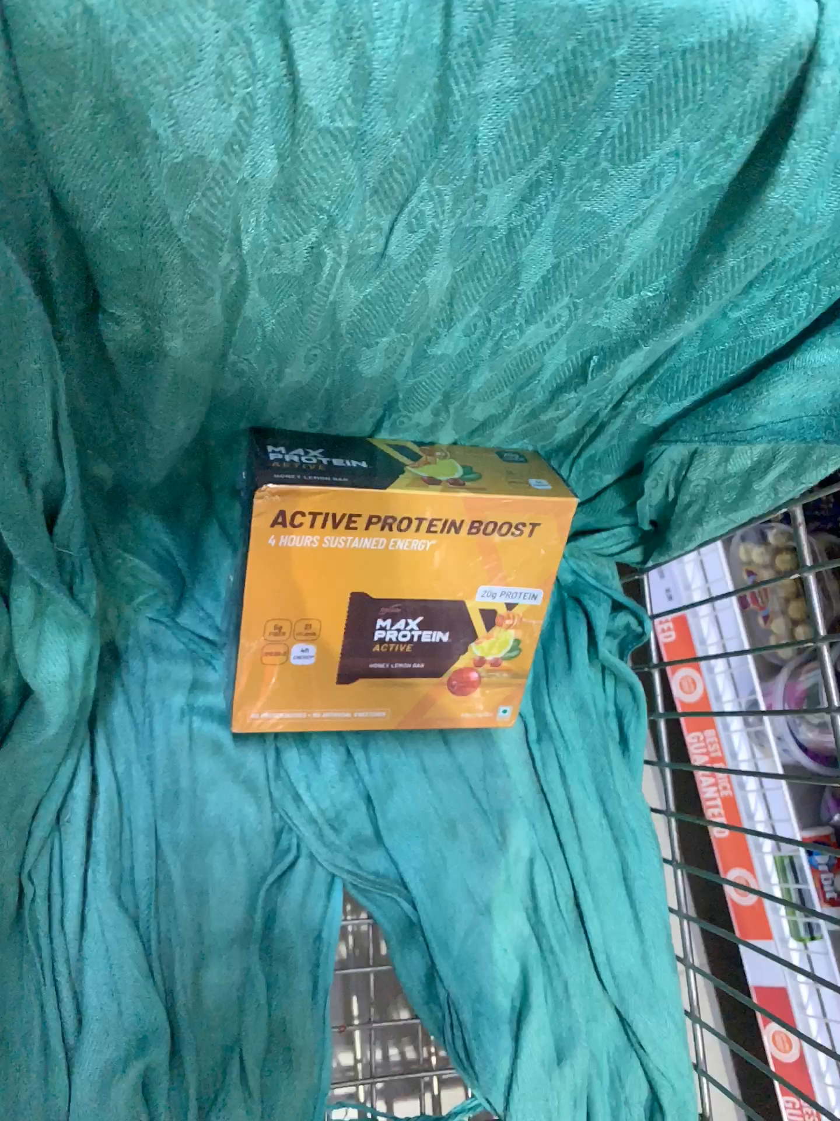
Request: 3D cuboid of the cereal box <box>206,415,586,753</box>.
[{"bbox_3d":[-0.021,0.013,0.435,0.160,0.080,0.140,2,116,-16],"label":"cereal box"}]
